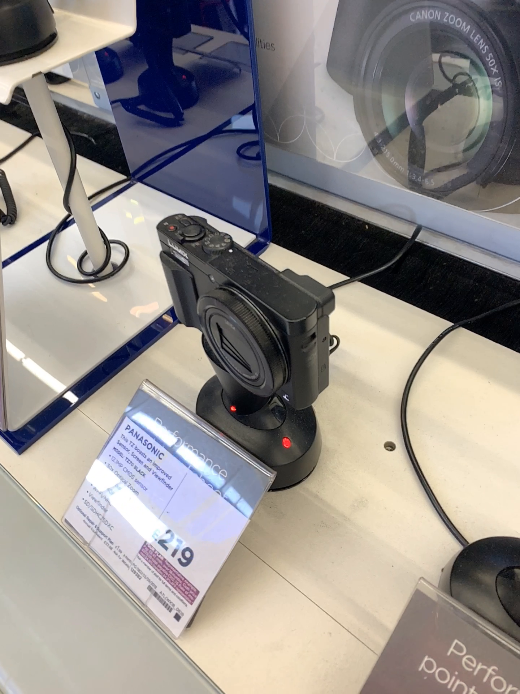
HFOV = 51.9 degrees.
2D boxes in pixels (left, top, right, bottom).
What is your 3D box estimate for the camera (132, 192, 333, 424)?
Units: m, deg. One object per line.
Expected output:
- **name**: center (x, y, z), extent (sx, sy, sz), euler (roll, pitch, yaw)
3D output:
- **camera**: center (-0.014, -0.022, 0.273), extent (0.030, 0.069, 0.111), euler (-36, 54, -24)
